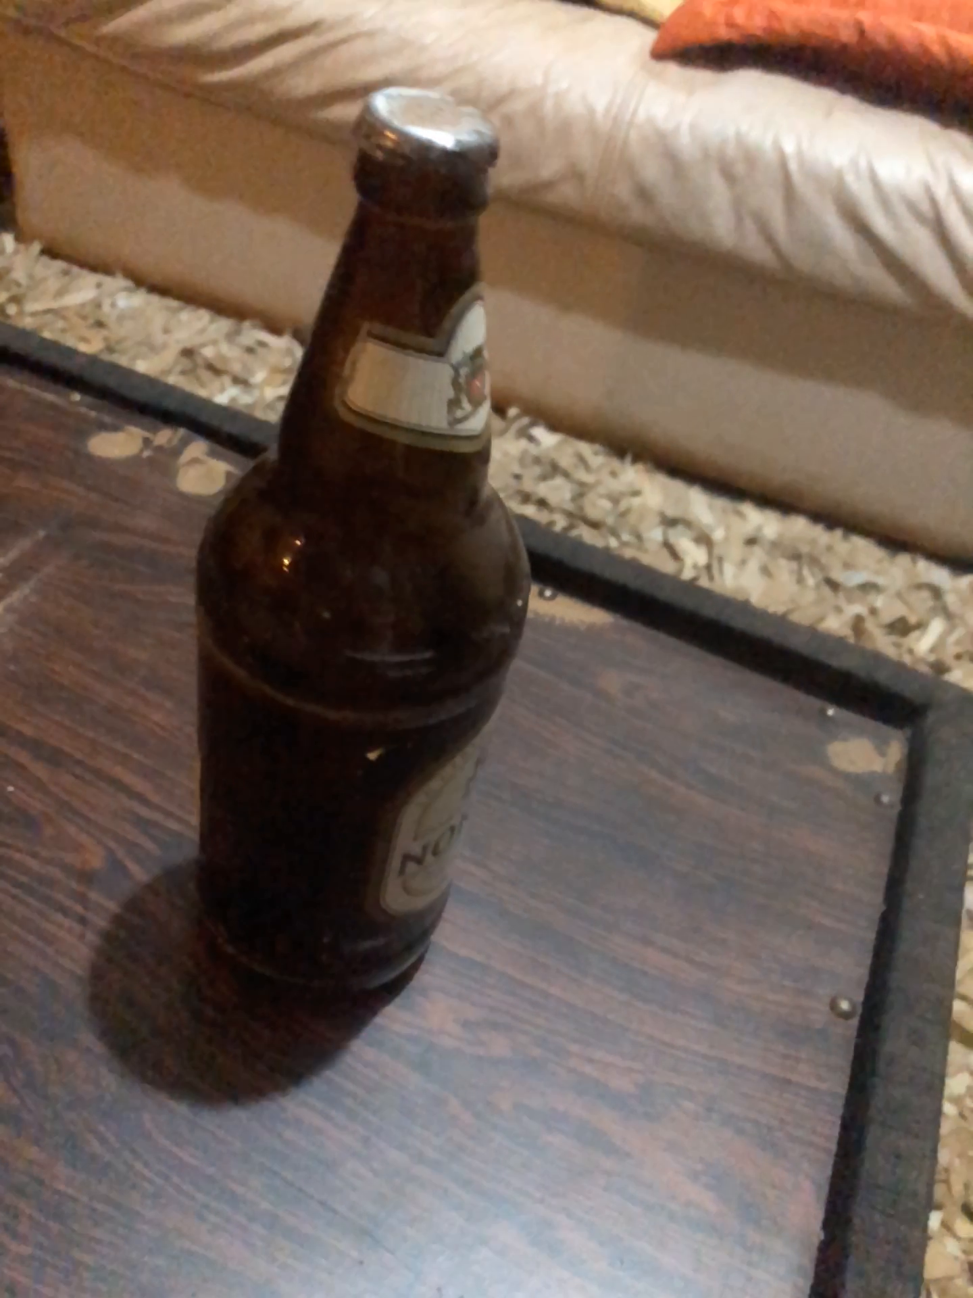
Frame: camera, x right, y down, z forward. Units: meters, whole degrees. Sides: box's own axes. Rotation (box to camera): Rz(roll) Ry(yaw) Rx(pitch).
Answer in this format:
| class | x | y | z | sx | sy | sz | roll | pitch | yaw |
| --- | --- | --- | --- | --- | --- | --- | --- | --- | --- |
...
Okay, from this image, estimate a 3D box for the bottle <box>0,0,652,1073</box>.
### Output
| class | x | y | z | sx | sy | sz | roll | pitch | yaw |
| --- | --- | --- | --- | --- | --- | --- | --- | --- | --- |
| bottle | -0.040 | -0.005 | 0.296 | 0.100 | 0.268 | 0.101 | 6 | 43 | -6 |
